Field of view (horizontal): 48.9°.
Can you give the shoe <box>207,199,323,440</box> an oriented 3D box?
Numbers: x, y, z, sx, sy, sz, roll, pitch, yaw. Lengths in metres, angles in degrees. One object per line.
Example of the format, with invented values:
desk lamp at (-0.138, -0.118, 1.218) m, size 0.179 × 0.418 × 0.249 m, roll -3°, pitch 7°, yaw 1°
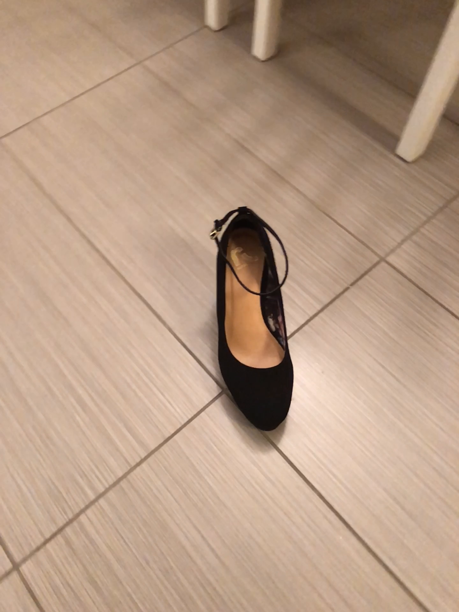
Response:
shoe at (0.033, 0.016, 0.595) m, size 0.100 × 0.140 × 0.241 m, roll -4°, pitch 60°, yaw 0°
